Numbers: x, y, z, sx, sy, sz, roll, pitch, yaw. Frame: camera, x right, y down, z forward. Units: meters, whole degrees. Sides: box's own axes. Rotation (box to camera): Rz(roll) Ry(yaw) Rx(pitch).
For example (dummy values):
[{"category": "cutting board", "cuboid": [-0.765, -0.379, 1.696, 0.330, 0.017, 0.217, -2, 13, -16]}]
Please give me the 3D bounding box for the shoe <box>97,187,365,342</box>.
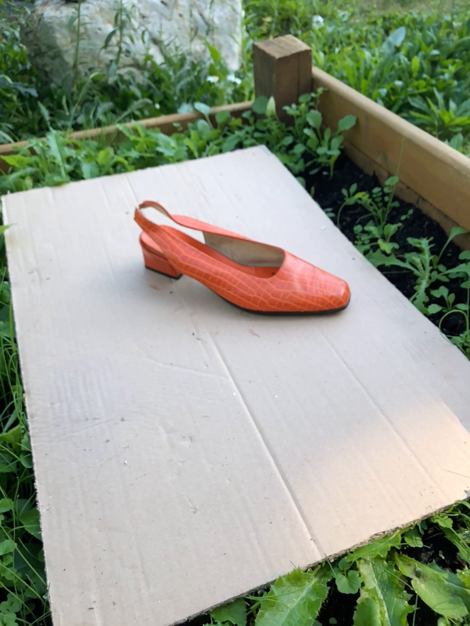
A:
[{"category": "shoe", "cuboid": [-0.003, -0.058, 0.564, 0.260, 0.089, 0.091, 11, 42, 14]}]
